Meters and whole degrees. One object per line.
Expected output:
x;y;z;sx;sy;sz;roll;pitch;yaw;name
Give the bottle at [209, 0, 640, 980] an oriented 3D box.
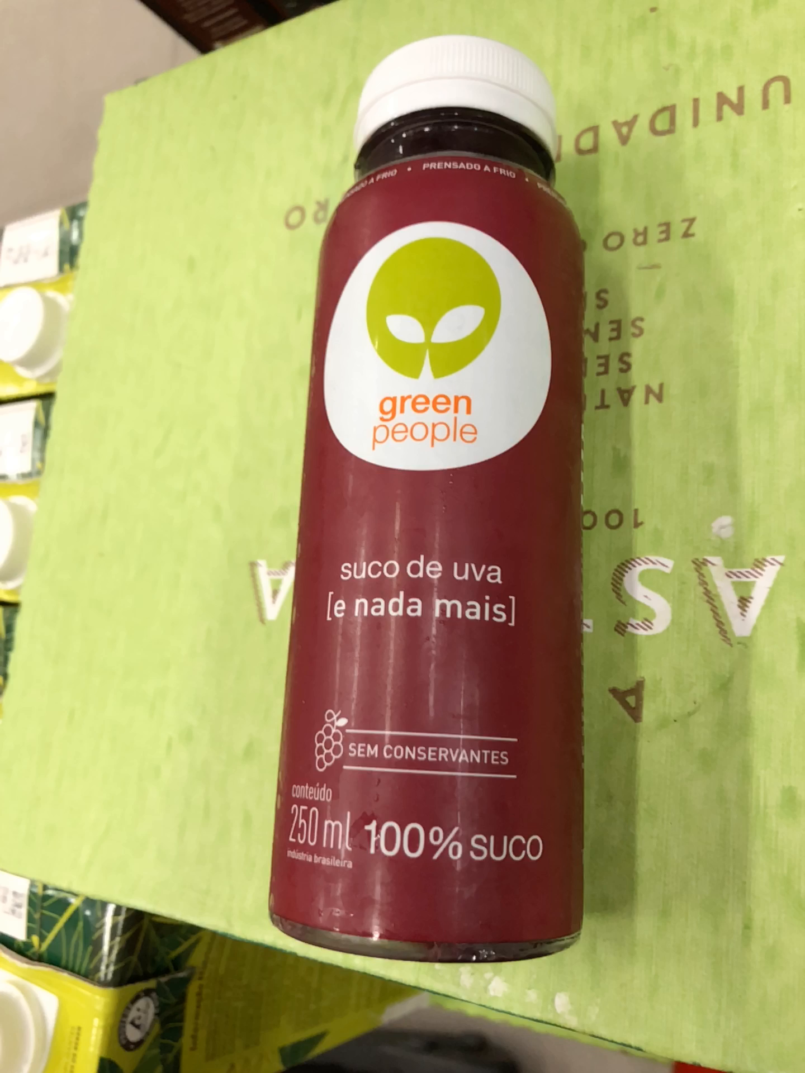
0.010;-0.019;0.172;0.060;0.060;0.170;1;78;8;bottle
